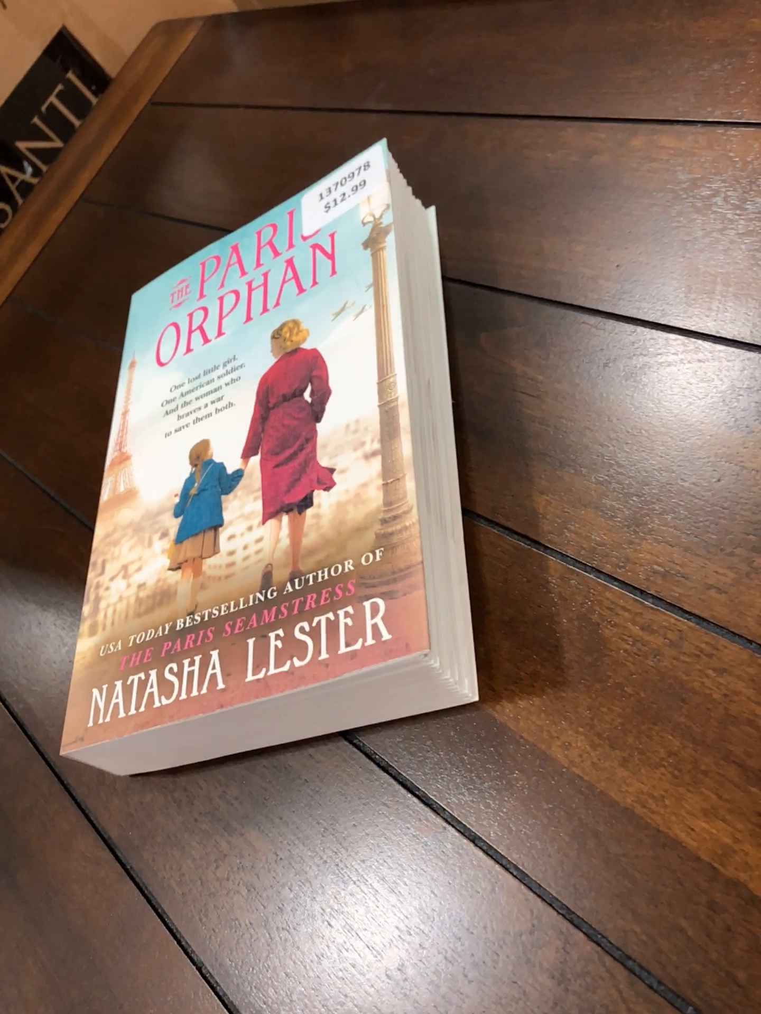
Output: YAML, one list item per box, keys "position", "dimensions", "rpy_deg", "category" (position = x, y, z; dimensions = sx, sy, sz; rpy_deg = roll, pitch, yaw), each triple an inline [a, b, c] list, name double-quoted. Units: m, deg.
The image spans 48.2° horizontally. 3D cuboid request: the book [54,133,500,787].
- position: [-0.038, -0.019, 0.293]
  dimensions: [0.135, 0.035, 0.199]
  rpy_deg: [-20, 55, 27]
  category: "book"
